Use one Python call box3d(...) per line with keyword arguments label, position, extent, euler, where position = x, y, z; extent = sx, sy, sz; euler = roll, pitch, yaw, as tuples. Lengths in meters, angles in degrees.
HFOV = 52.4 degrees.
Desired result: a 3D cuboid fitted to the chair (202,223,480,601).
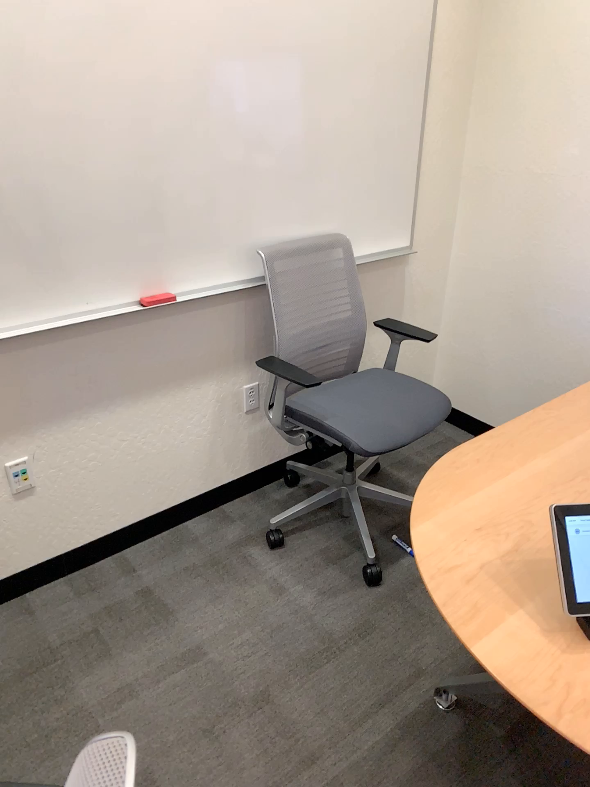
box3d(label="chair", position=(0.162, 0.006, 2.559), extent=(0.761, 1.263, 0.753), euler=(-20, 31, -39))
